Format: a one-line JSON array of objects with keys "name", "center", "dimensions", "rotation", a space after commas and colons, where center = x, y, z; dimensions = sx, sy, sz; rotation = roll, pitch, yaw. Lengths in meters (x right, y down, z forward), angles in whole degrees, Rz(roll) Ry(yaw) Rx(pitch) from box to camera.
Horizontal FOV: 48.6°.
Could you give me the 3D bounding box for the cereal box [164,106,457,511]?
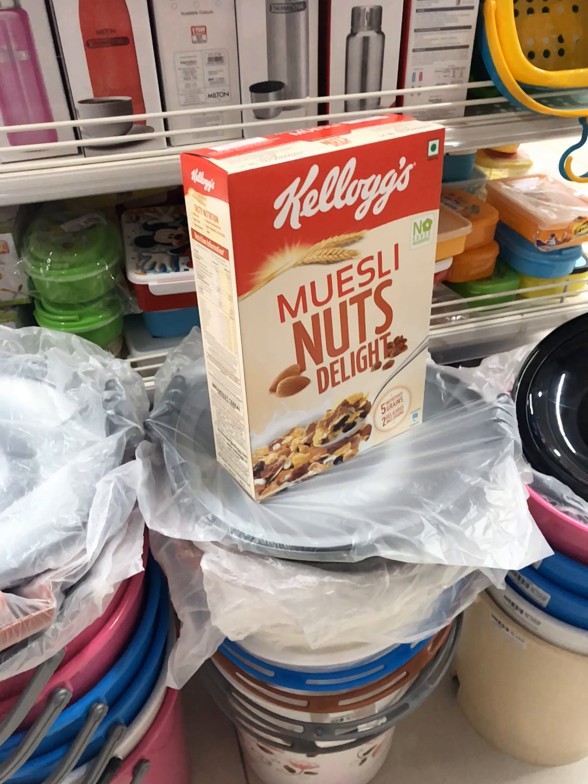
[{"name": "cereal box", "center": [0.022, -0.065, 0.502], "dimensions": [0.190, 0.259, 0.070], "rotation": [-21, 35, -27]}]
